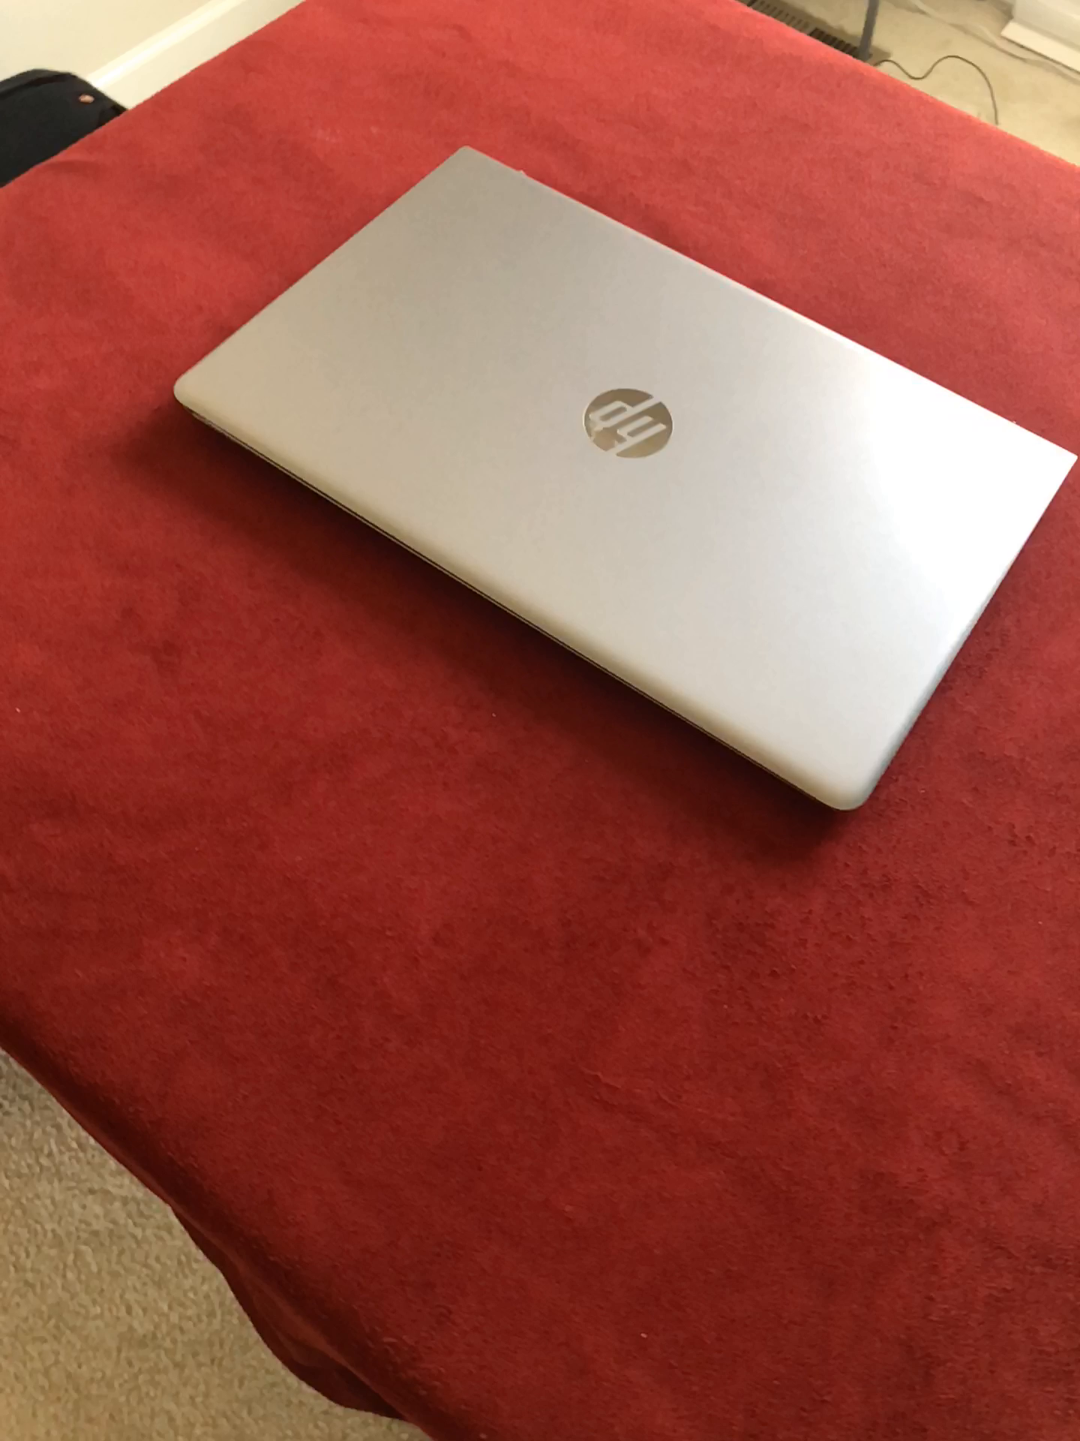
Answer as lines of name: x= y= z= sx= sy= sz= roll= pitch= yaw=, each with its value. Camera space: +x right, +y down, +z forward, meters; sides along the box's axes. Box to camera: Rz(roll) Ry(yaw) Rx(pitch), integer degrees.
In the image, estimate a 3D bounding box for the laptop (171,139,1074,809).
laptop: x=0.042 y=-0.145 z=0.583 sx=0.372 sy=0.006 sz=0.234 roll=33 pitch=65 yaw=13
